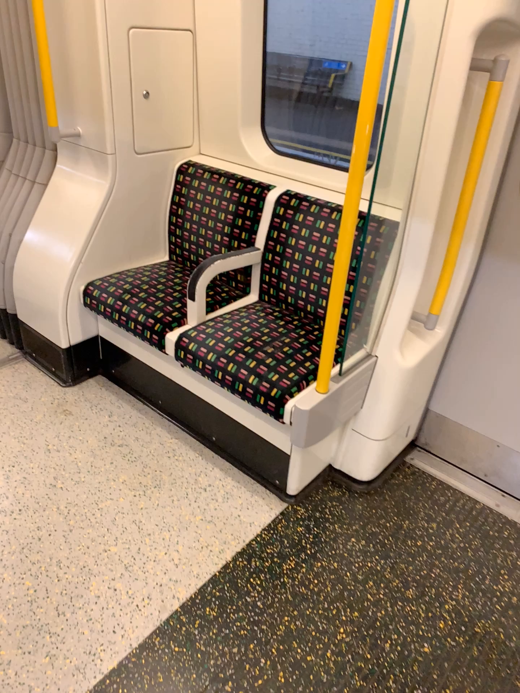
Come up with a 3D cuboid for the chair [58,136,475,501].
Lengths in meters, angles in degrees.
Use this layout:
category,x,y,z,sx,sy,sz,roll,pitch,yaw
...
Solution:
category,x,y,z,sx,sy,sz,roll,pitch,yaw
chair,0.005,-0.238,1.967,1.065,0.763,0.915,27,38,32
